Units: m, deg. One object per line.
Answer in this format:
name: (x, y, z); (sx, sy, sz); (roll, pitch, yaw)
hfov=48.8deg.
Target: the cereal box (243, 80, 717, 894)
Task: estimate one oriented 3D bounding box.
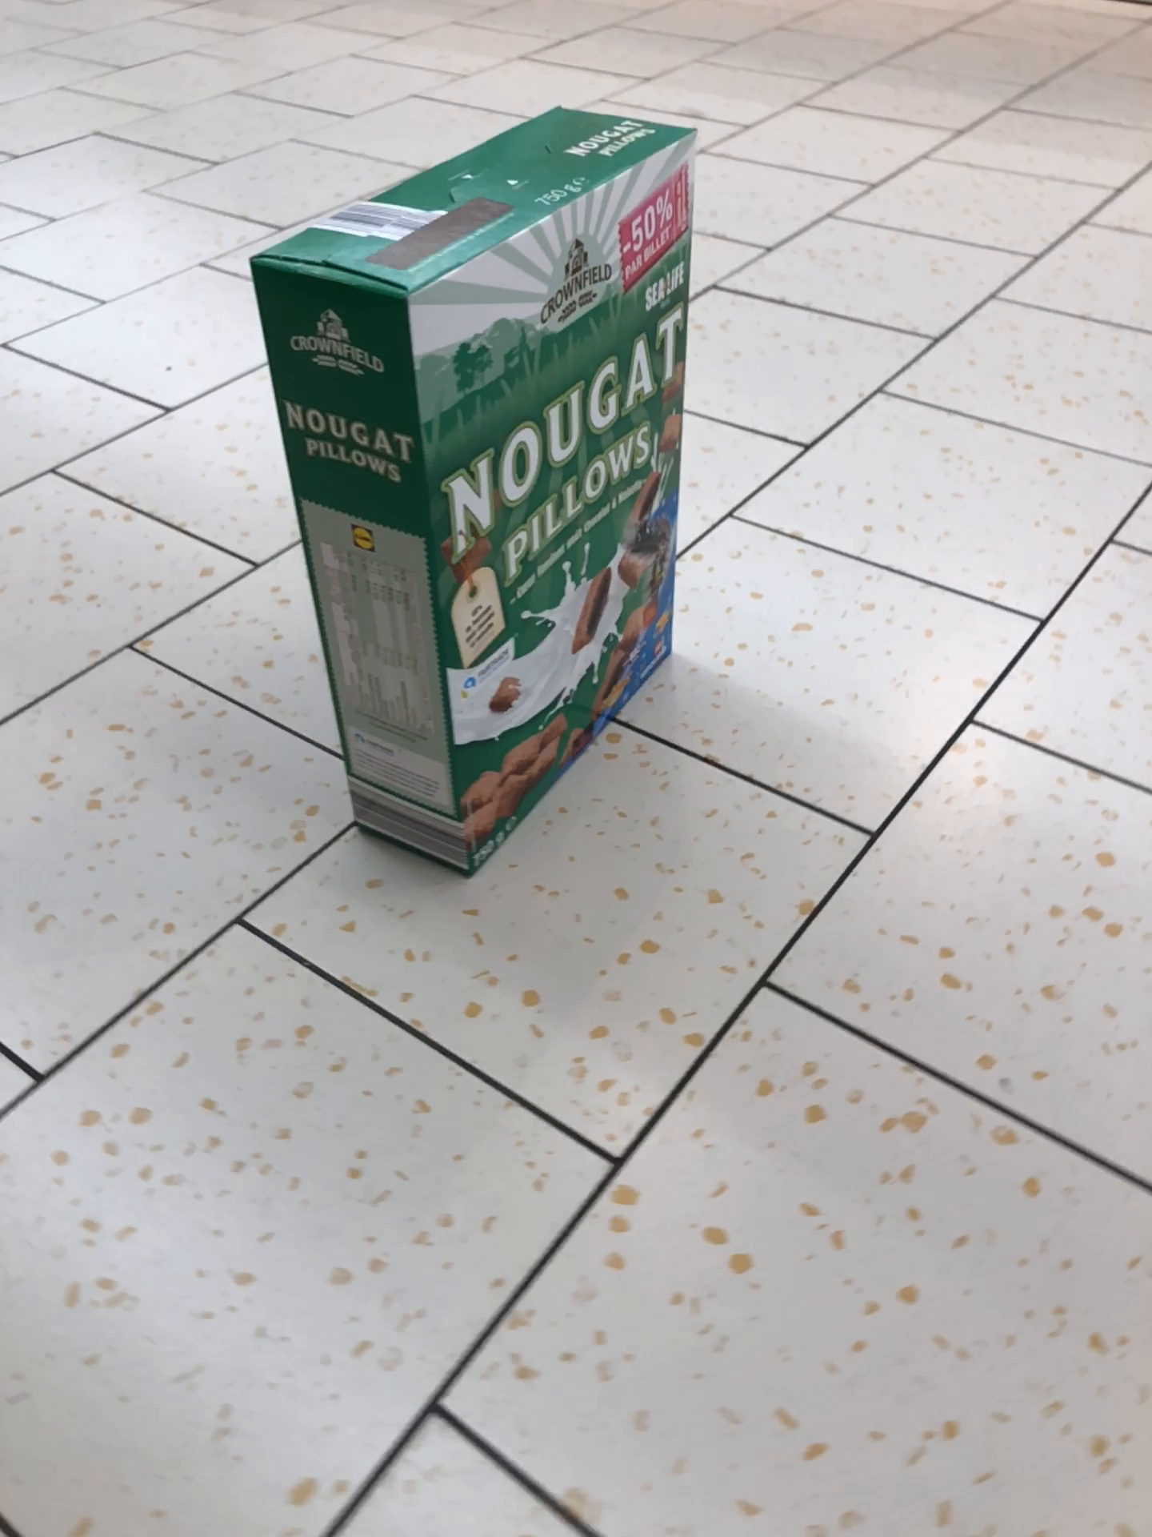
cereal box: (-0.021, -0.116, 0.538); (0.070, 0.268, 0.201); (20, 45, 23)
